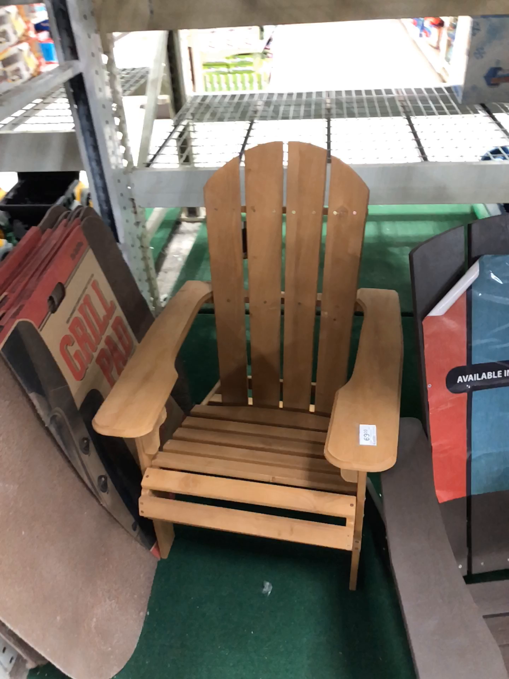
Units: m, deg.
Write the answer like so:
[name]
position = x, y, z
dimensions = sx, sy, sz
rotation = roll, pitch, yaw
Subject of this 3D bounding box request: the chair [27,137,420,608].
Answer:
[chair]
position = 0.029, 0.052, 1.405
dimensions = 0.641, 0.884, 0.690
rotation = 5, 37, 12
